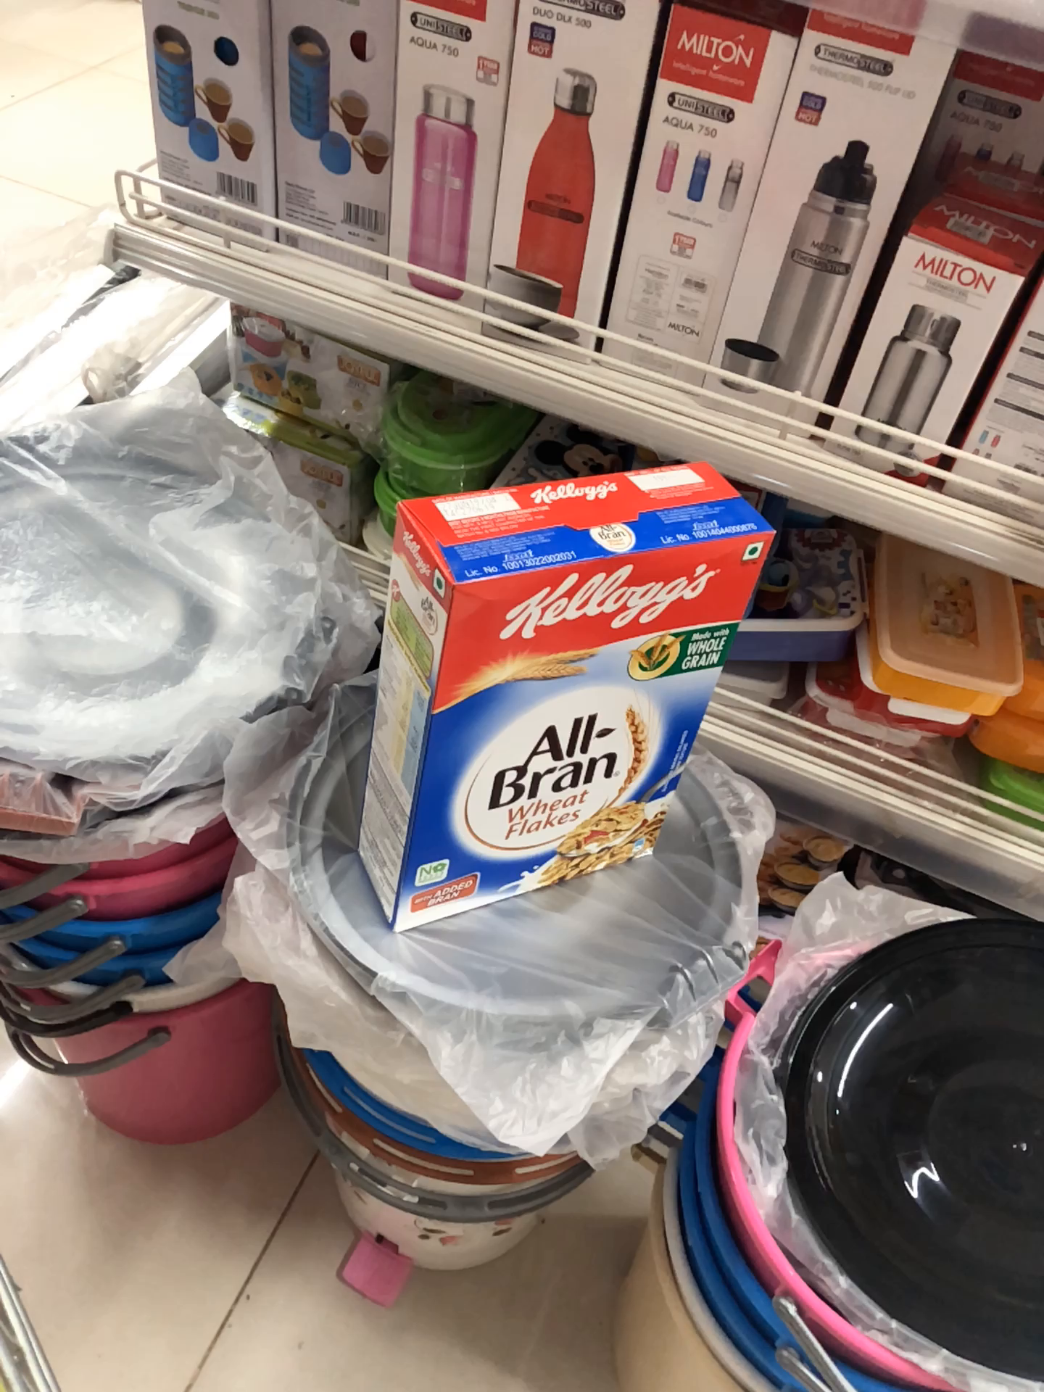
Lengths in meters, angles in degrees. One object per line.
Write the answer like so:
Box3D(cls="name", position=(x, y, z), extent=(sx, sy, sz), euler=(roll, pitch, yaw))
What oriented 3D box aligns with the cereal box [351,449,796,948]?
Box3D(cls="cereal box", position=(0.015, 0.008, 0.642), extent=(0.190, 0.269, 0.070), euler=(-13, 48, -25))
